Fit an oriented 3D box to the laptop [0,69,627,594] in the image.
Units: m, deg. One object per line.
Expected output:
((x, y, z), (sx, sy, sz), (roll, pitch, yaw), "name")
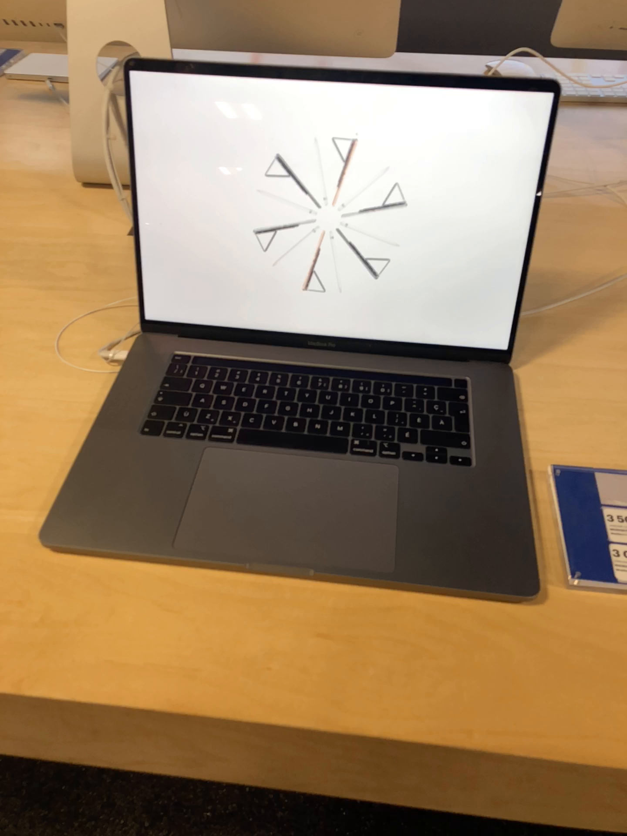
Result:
((-0.003, -0.084, 0.525), (0.352, 0.230, 0.316), (5, 44, 5), "laptop")
